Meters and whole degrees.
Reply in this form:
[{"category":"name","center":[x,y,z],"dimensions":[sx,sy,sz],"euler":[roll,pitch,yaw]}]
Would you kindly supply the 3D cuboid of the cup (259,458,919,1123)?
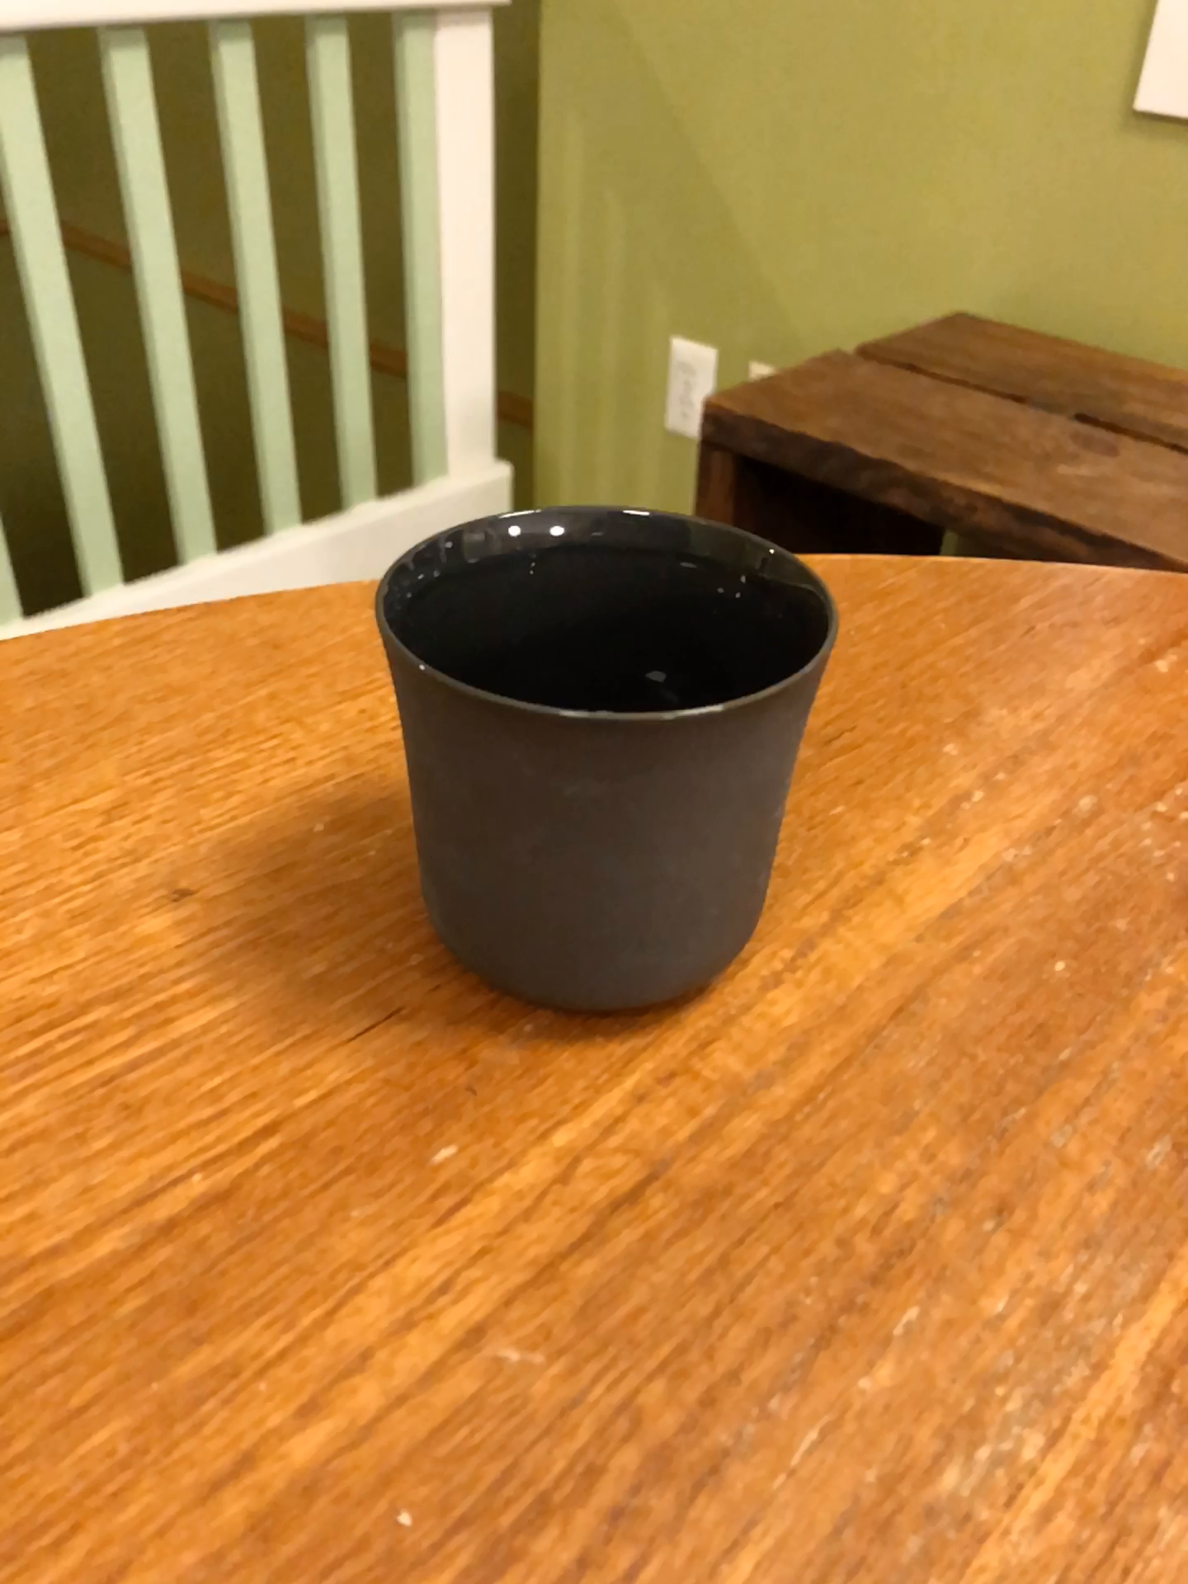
[{"category":"cup","center":[0.000,-0.006,0.234],"dimensions":[0.079,0.068,0.075],"euler":[2,35,-1]}]
